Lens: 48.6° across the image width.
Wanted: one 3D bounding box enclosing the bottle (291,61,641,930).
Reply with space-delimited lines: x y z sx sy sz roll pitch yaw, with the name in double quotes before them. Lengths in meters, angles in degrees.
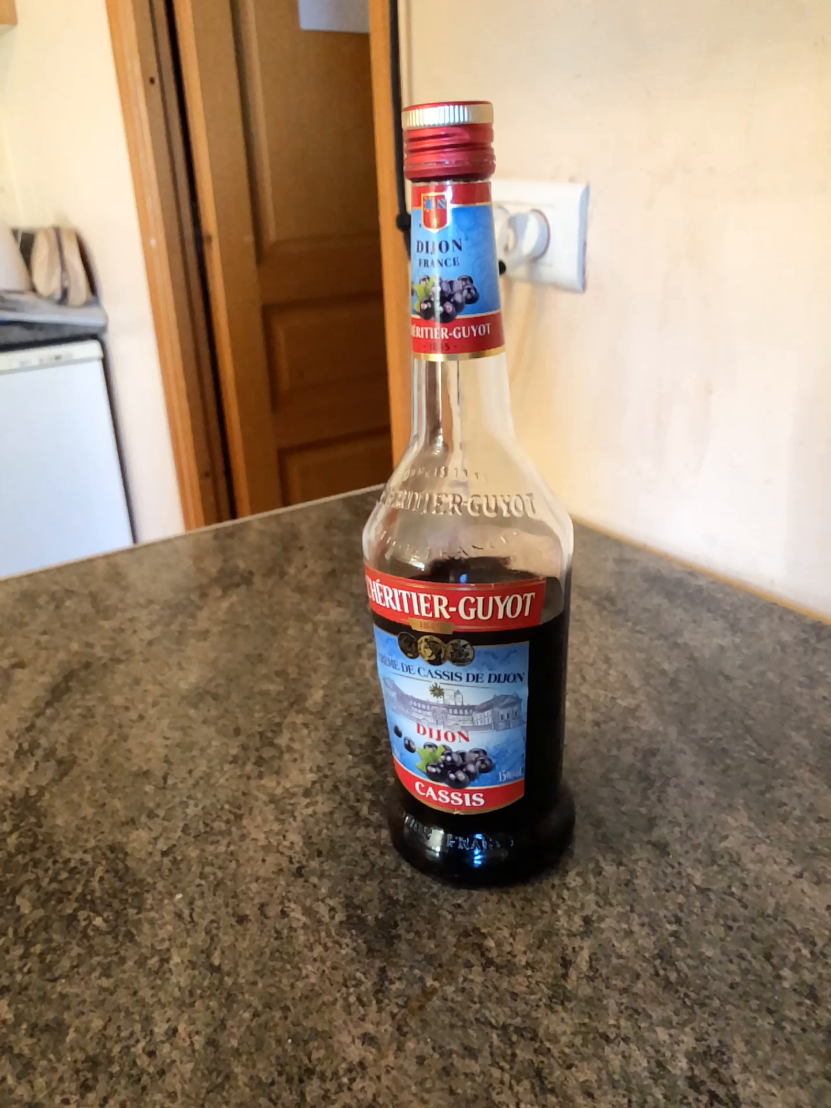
"bottle" 0.027 -0.015 0.358 0.090 0.299 0.091 -2 21 1
